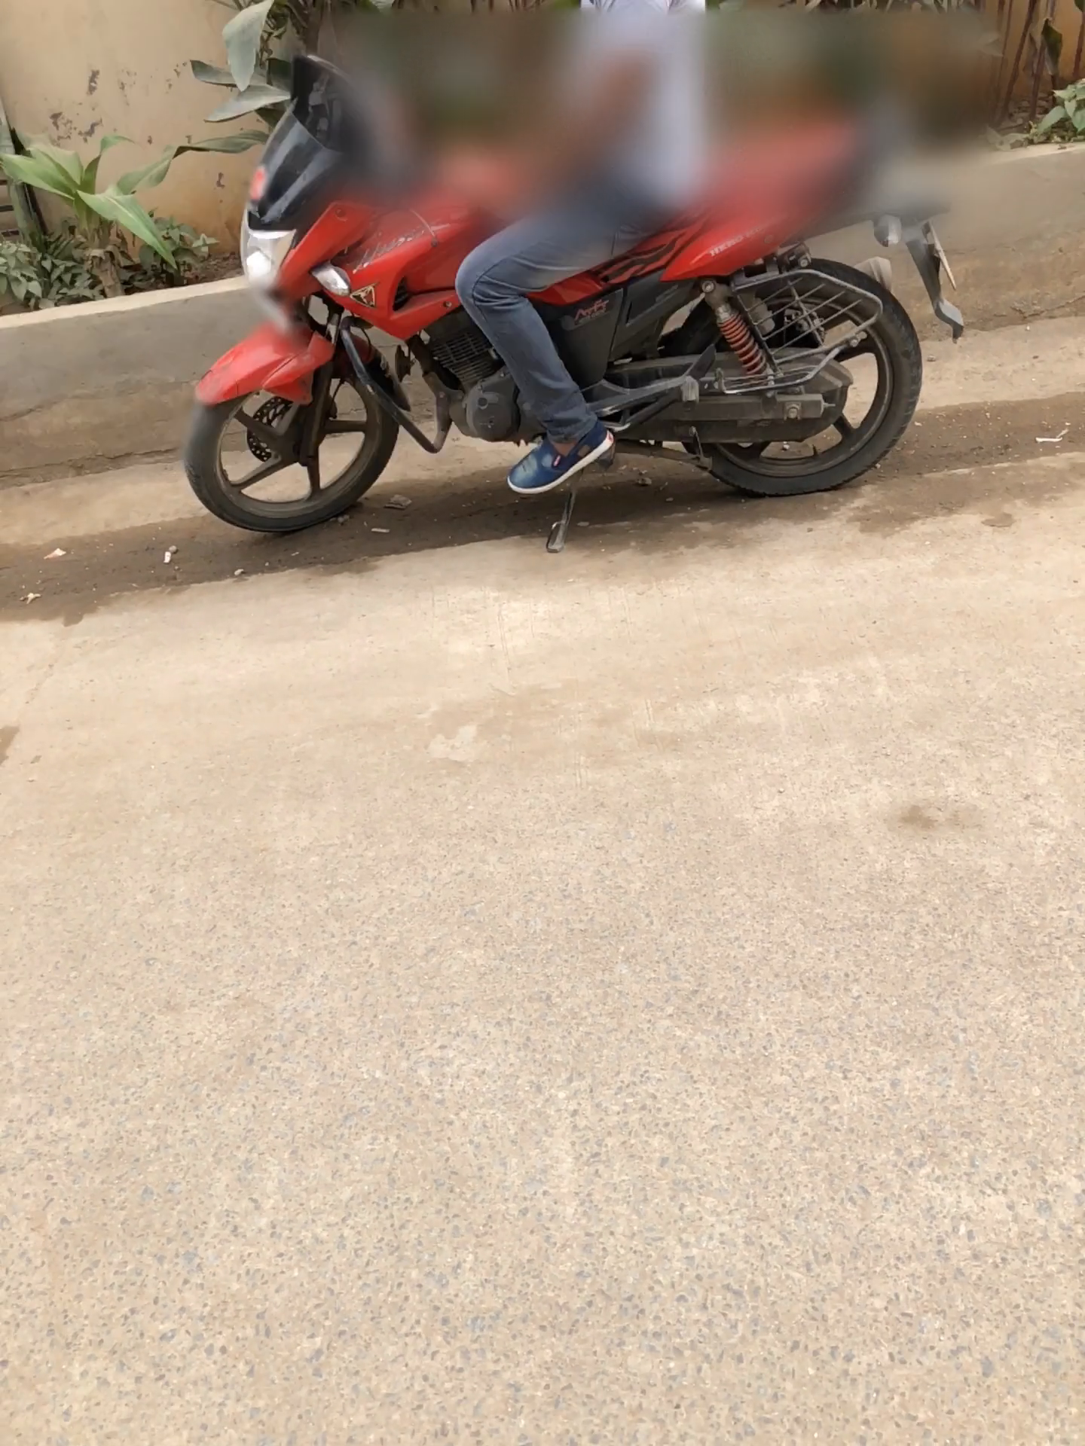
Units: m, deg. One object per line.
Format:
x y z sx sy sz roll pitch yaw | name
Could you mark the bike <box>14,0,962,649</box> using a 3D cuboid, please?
-0.004 -0.956 2.841 1.787 1.207 0.694 -5 35 5 | bike
